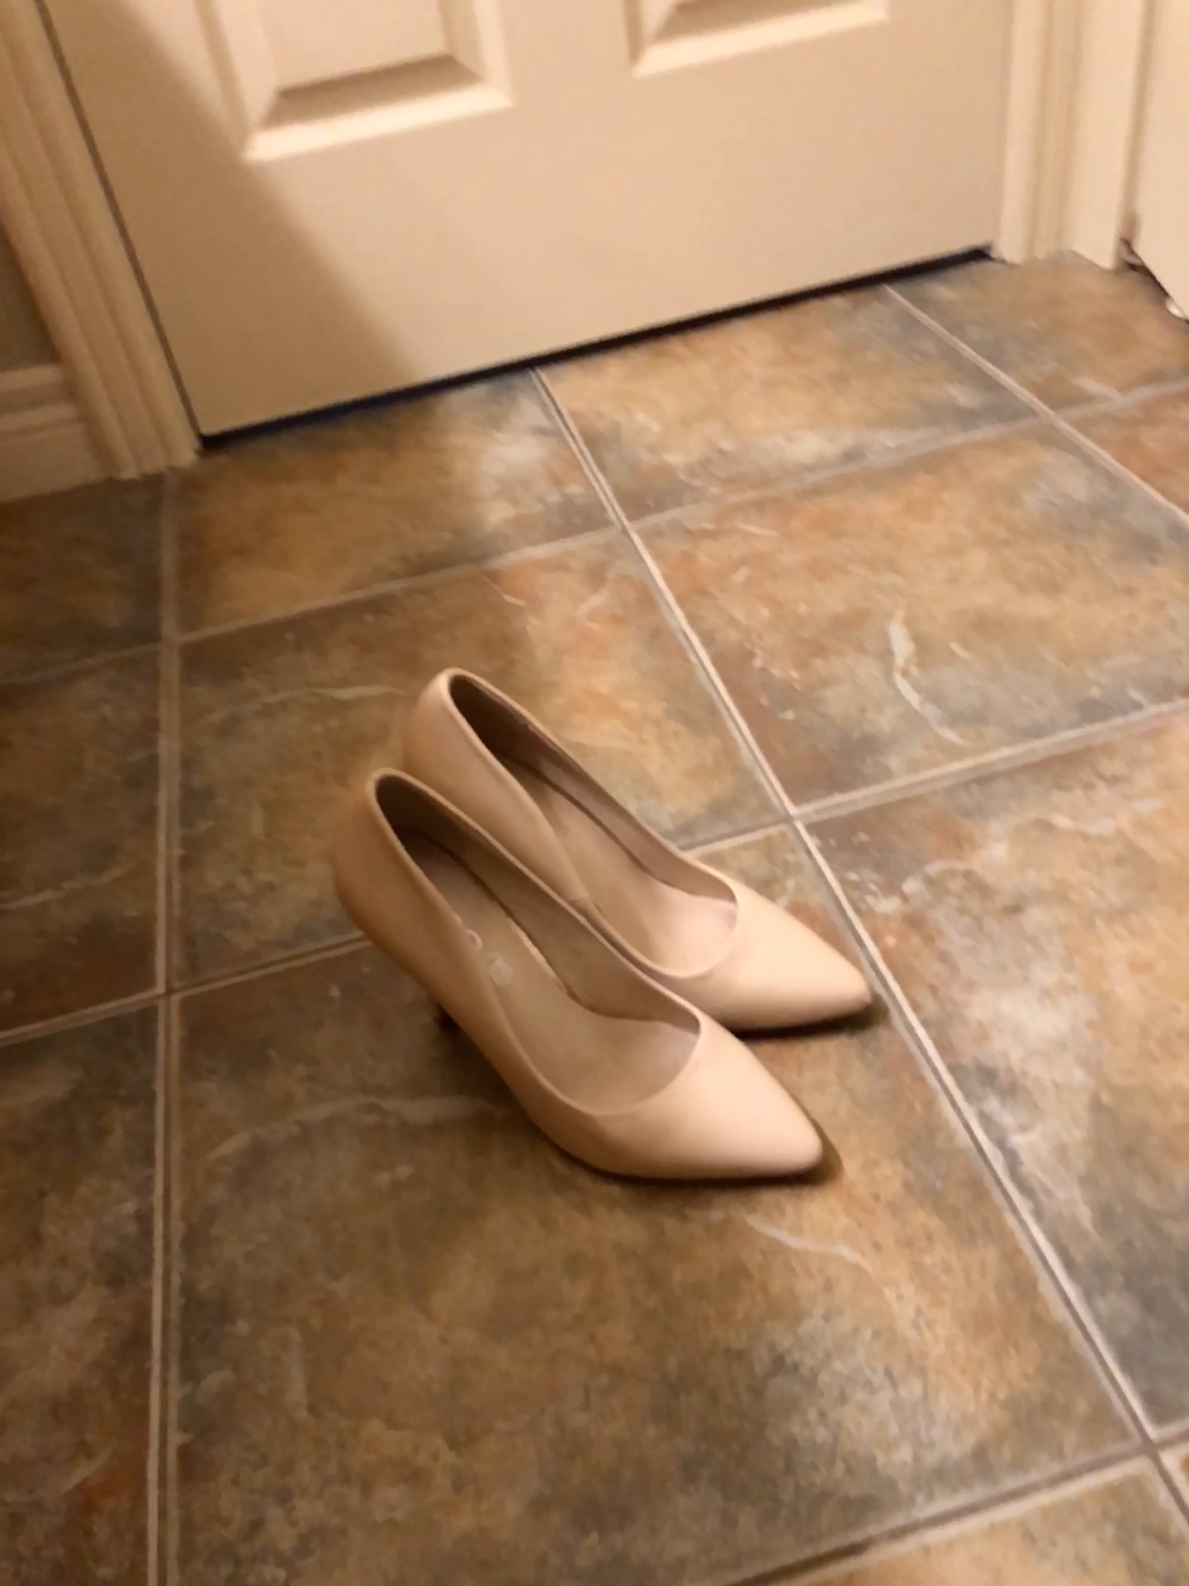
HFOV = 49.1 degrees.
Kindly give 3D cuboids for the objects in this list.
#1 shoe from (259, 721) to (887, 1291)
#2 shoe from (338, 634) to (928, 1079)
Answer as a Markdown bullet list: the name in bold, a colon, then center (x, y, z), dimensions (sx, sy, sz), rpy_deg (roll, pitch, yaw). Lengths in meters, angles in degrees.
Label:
- **shoe**: center (-0.006, 0.080, 0.531), dimensions (0.230, 0.149, 0.080), rpy_deg (18, 47, 29)
- **shoe**: center (0.020, 0.022, 0.572), dimensions (0.230, 0.129, 0.080), rpy_deg (12, 45, 25)
